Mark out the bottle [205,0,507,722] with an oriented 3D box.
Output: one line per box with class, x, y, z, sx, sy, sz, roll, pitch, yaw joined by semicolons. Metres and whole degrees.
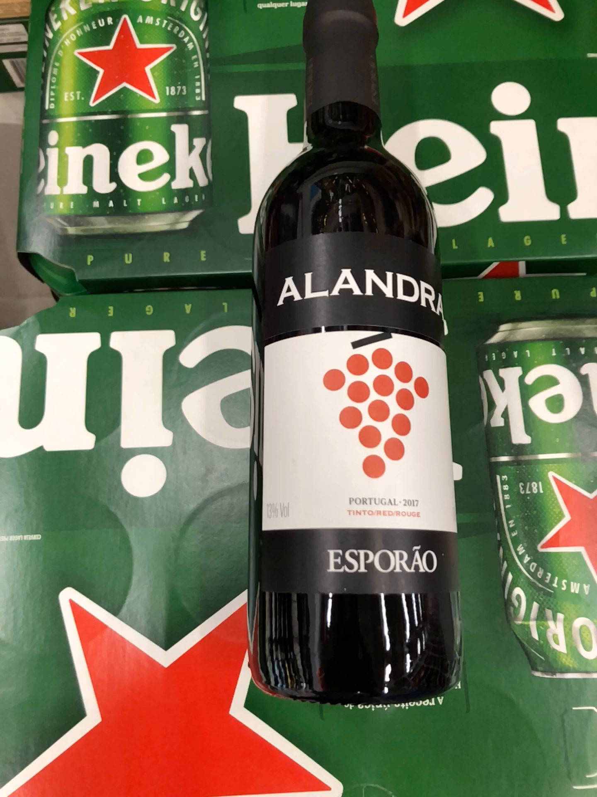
bottle;0.006;-0.042;0.202;0.060;0.060;0.240;1;75;-13
